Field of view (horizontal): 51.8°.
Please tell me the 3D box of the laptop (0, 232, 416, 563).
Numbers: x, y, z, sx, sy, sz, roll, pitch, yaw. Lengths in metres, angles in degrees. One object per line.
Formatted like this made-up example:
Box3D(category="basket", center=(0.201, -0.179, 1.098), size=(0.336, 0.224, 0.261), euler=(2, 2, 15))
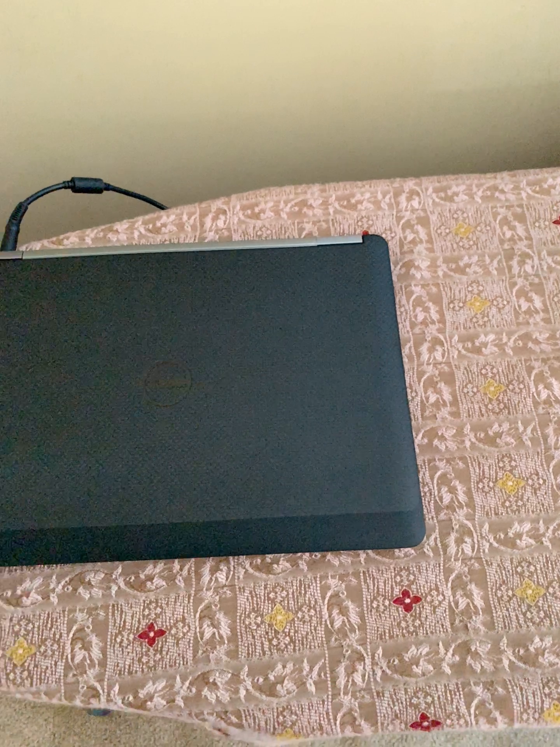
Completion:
Box3D(category="laptop", center=(-0.074, 0.011, 0.366), size=(0.294, 0.017, 0.197), euler=(-3, 71, 4))
